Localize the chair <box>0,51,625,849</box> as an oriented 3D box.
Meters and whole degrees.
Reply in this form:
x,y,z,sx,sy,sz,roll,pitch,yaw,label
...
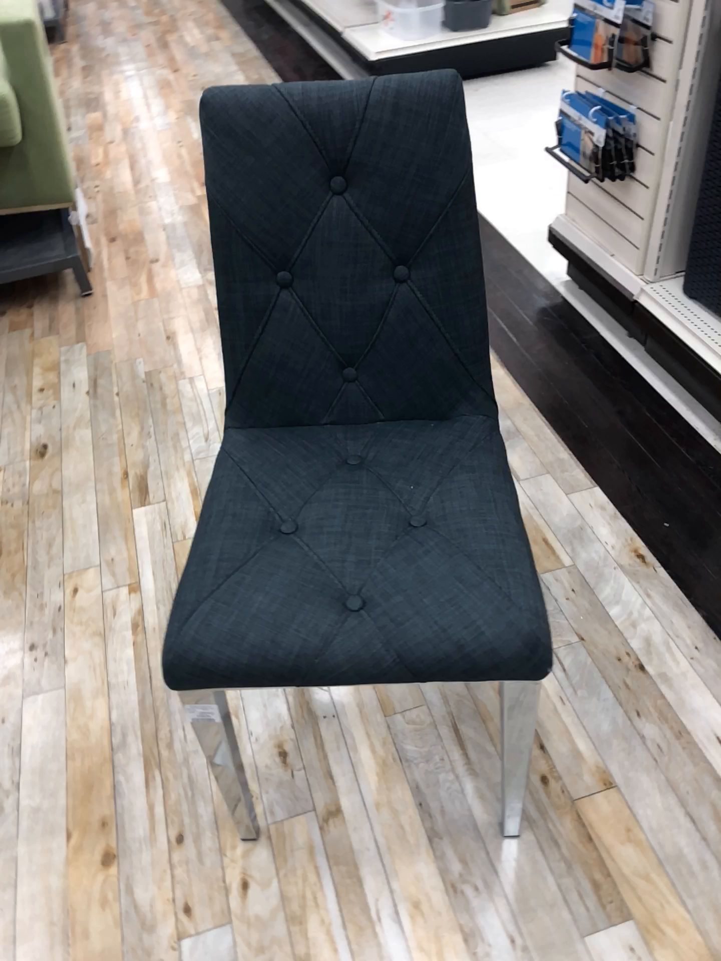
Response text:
x,y,z,sx,sy,sz,roll,pitch,yaw,label
-0.008,0.002,1.054,0.450,0.867,0.582,-3,42,4,chair
